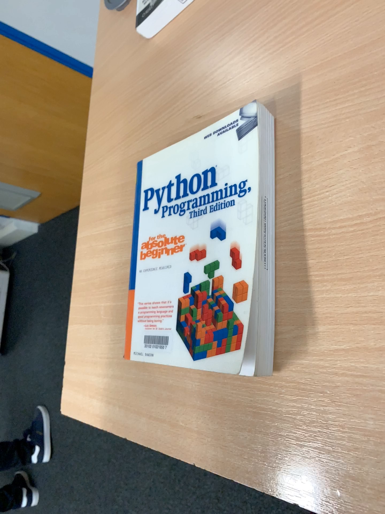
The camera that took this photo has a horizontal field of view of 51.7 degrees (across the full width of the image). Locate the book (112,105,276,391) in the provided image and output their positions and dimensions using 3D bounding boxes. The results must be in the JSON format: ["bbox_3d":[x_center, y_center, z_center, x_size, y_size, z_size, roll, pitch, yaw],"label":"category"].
[{"bbox_3d":[-0.005,-0.001,0.375,0.175,0.039,0.219,-10,73,48],"label":"book"}]
